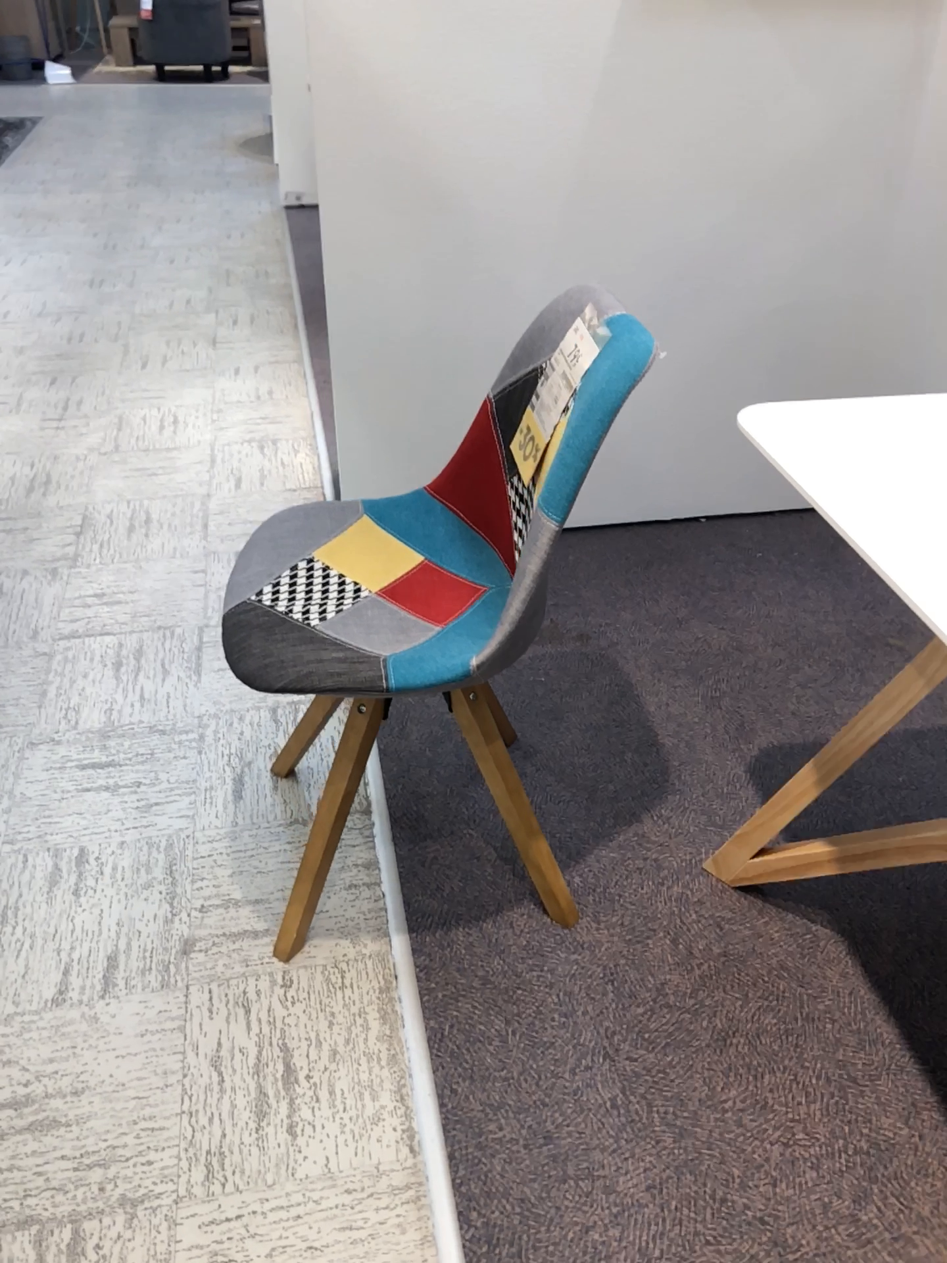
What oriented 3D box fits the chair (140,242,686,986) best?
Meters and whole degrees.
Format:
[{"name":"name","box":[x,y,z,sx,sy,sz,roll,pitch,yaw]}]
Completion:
[{"name":"chair","box":[-0.094,-0.026,1.372,0.511,0.815,0.473,-6,35,-10]}]
